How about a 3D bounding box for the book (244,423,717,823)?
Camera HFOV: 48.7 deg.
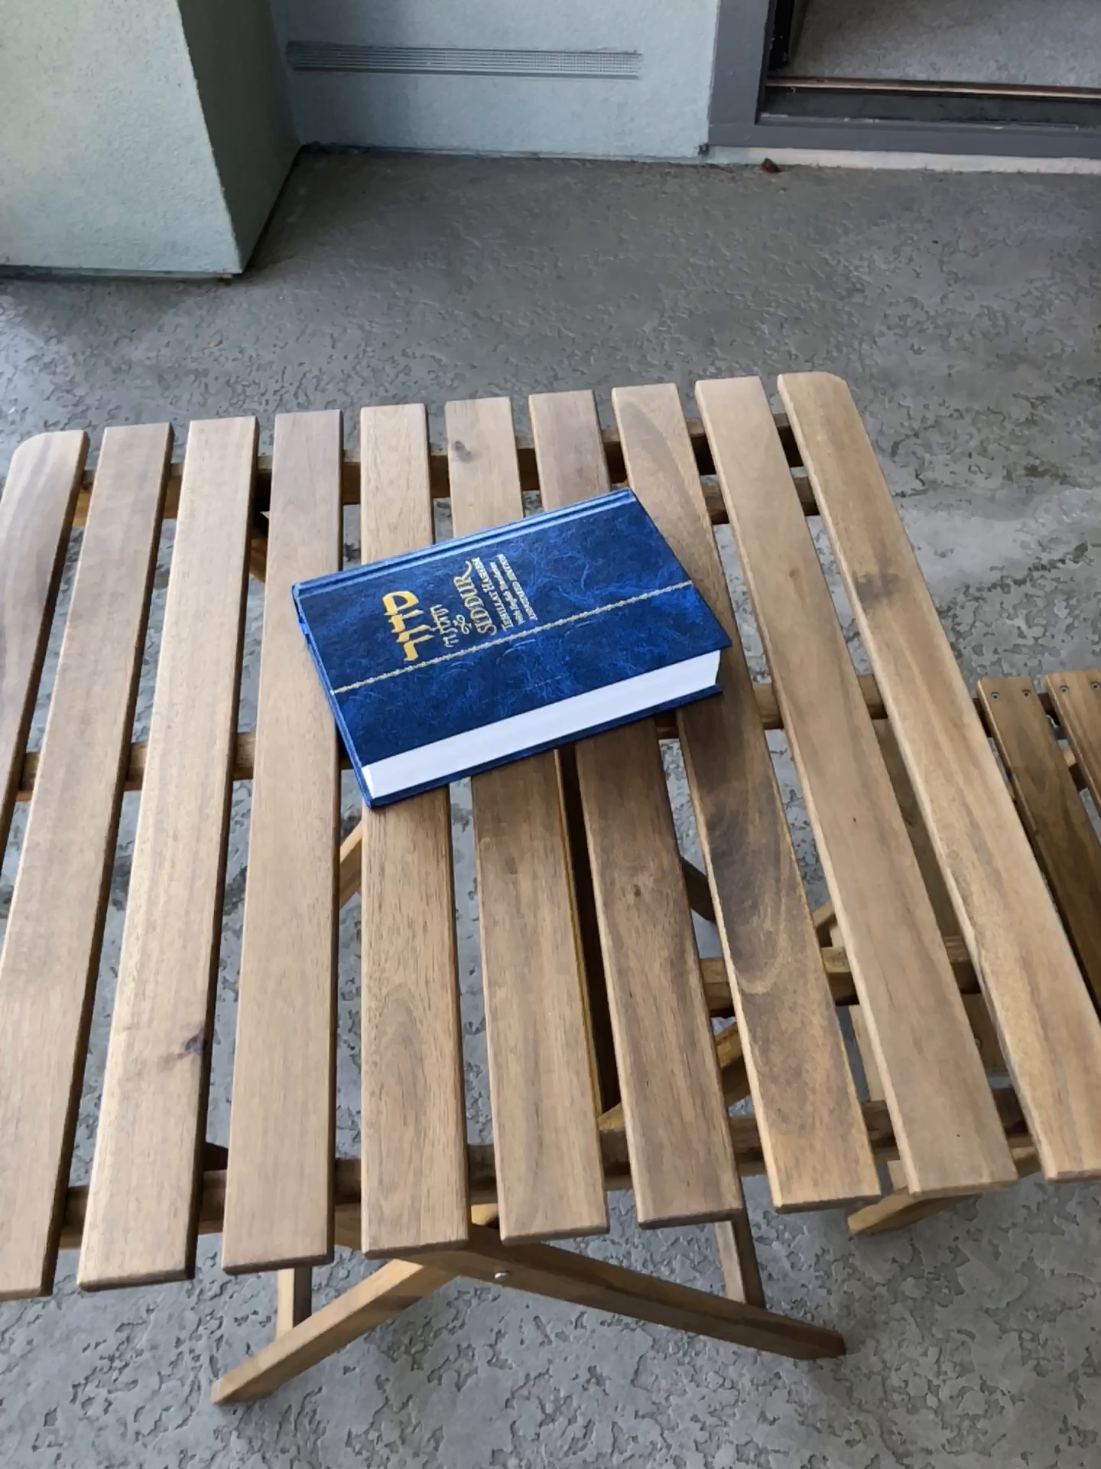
[{"bbox_3d":[-0.048,-0.078,0.755,0.230,0.070,0.201,-17,54,-12],"label":"book"}]
